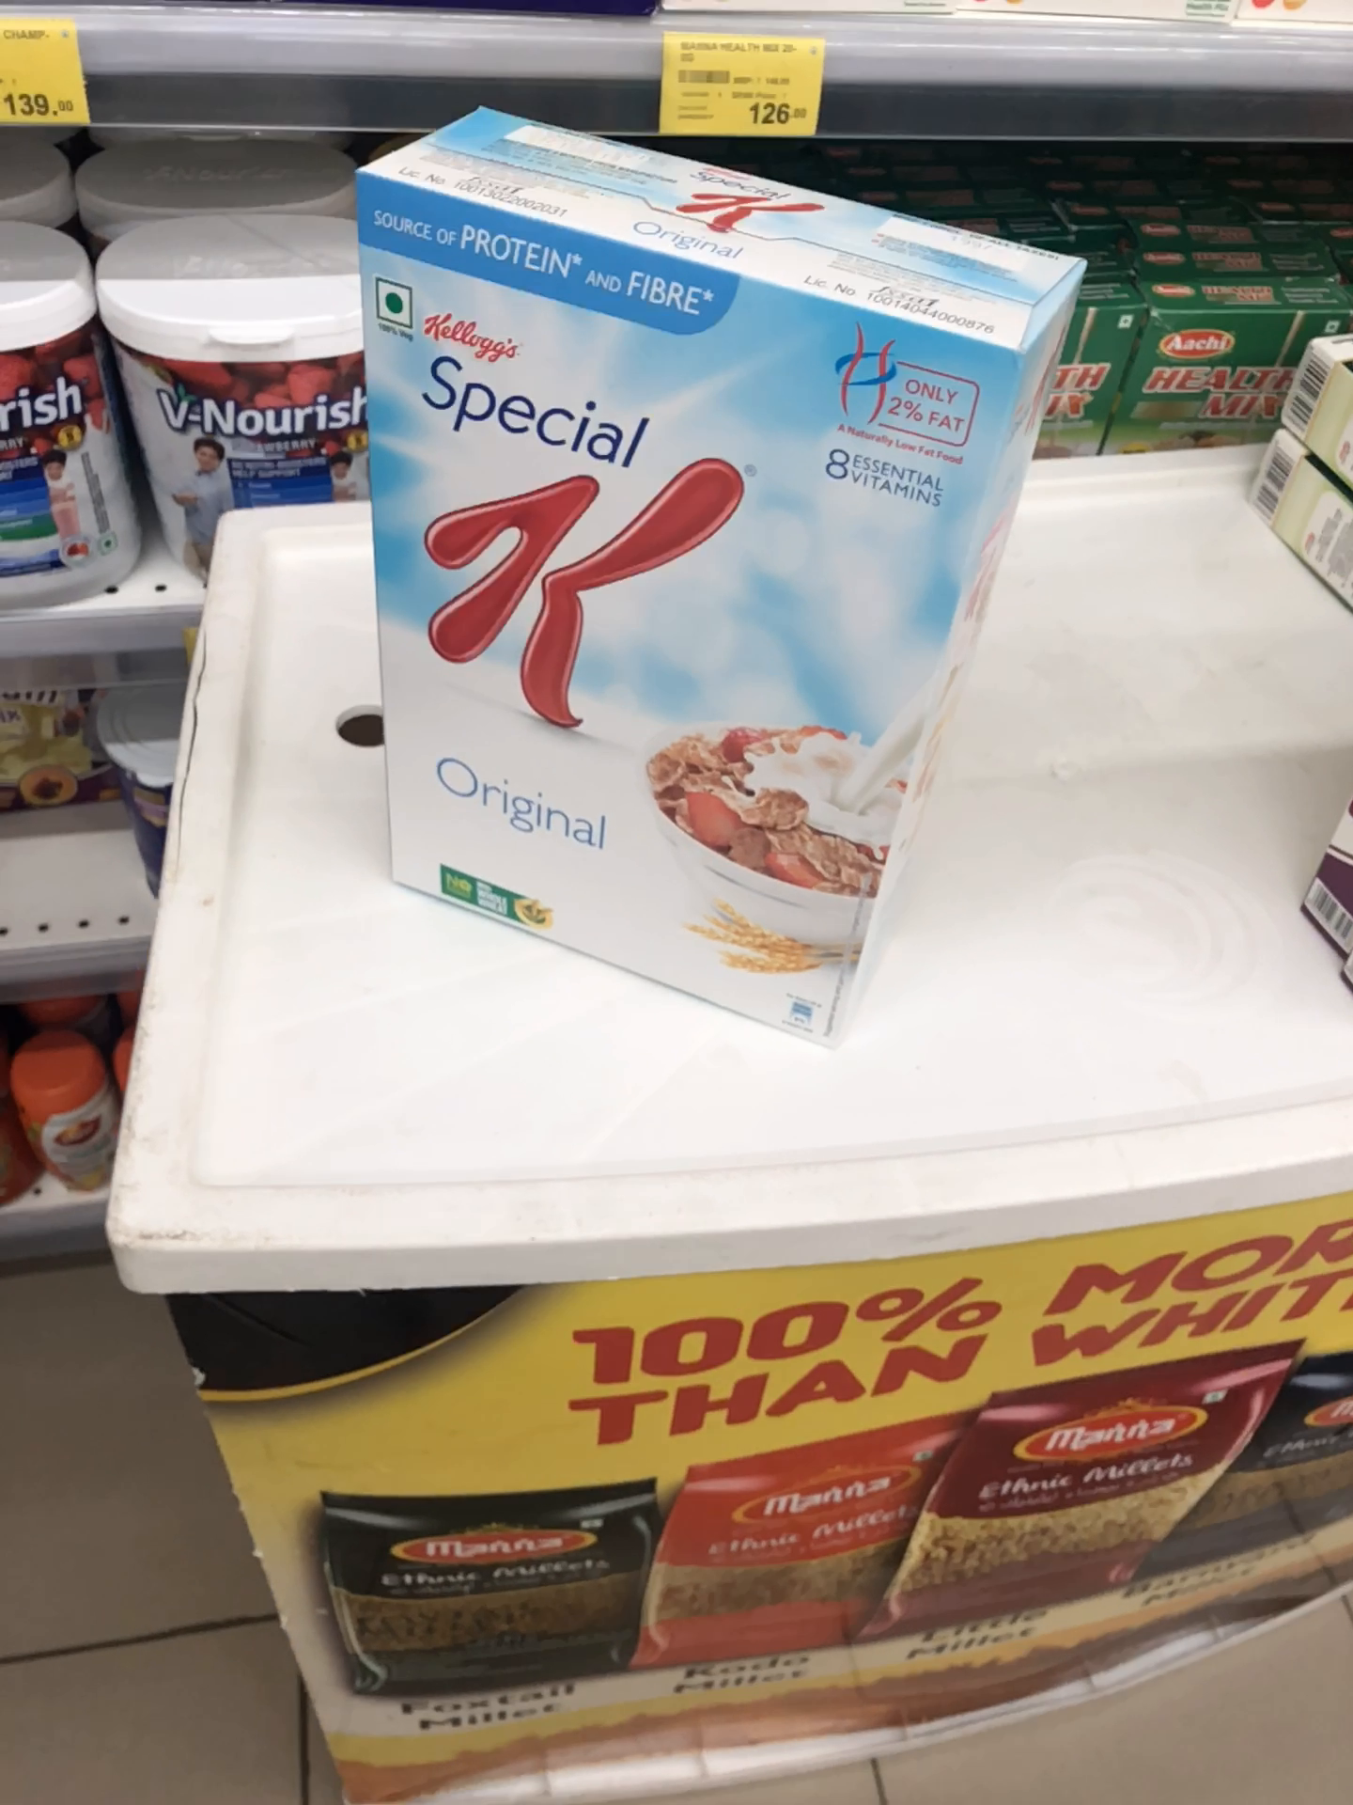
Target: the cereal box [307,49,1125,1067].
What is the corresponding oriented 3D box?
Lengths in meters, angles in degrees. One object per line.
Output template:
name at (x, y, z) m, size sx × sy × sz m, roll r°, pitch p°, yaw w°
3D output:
cereal box at (-0.002, -0.090, 0.461) m, size 0.190 × 0.259 × 0.070 m, roll 20°, pitch 46°, yaw 12°
